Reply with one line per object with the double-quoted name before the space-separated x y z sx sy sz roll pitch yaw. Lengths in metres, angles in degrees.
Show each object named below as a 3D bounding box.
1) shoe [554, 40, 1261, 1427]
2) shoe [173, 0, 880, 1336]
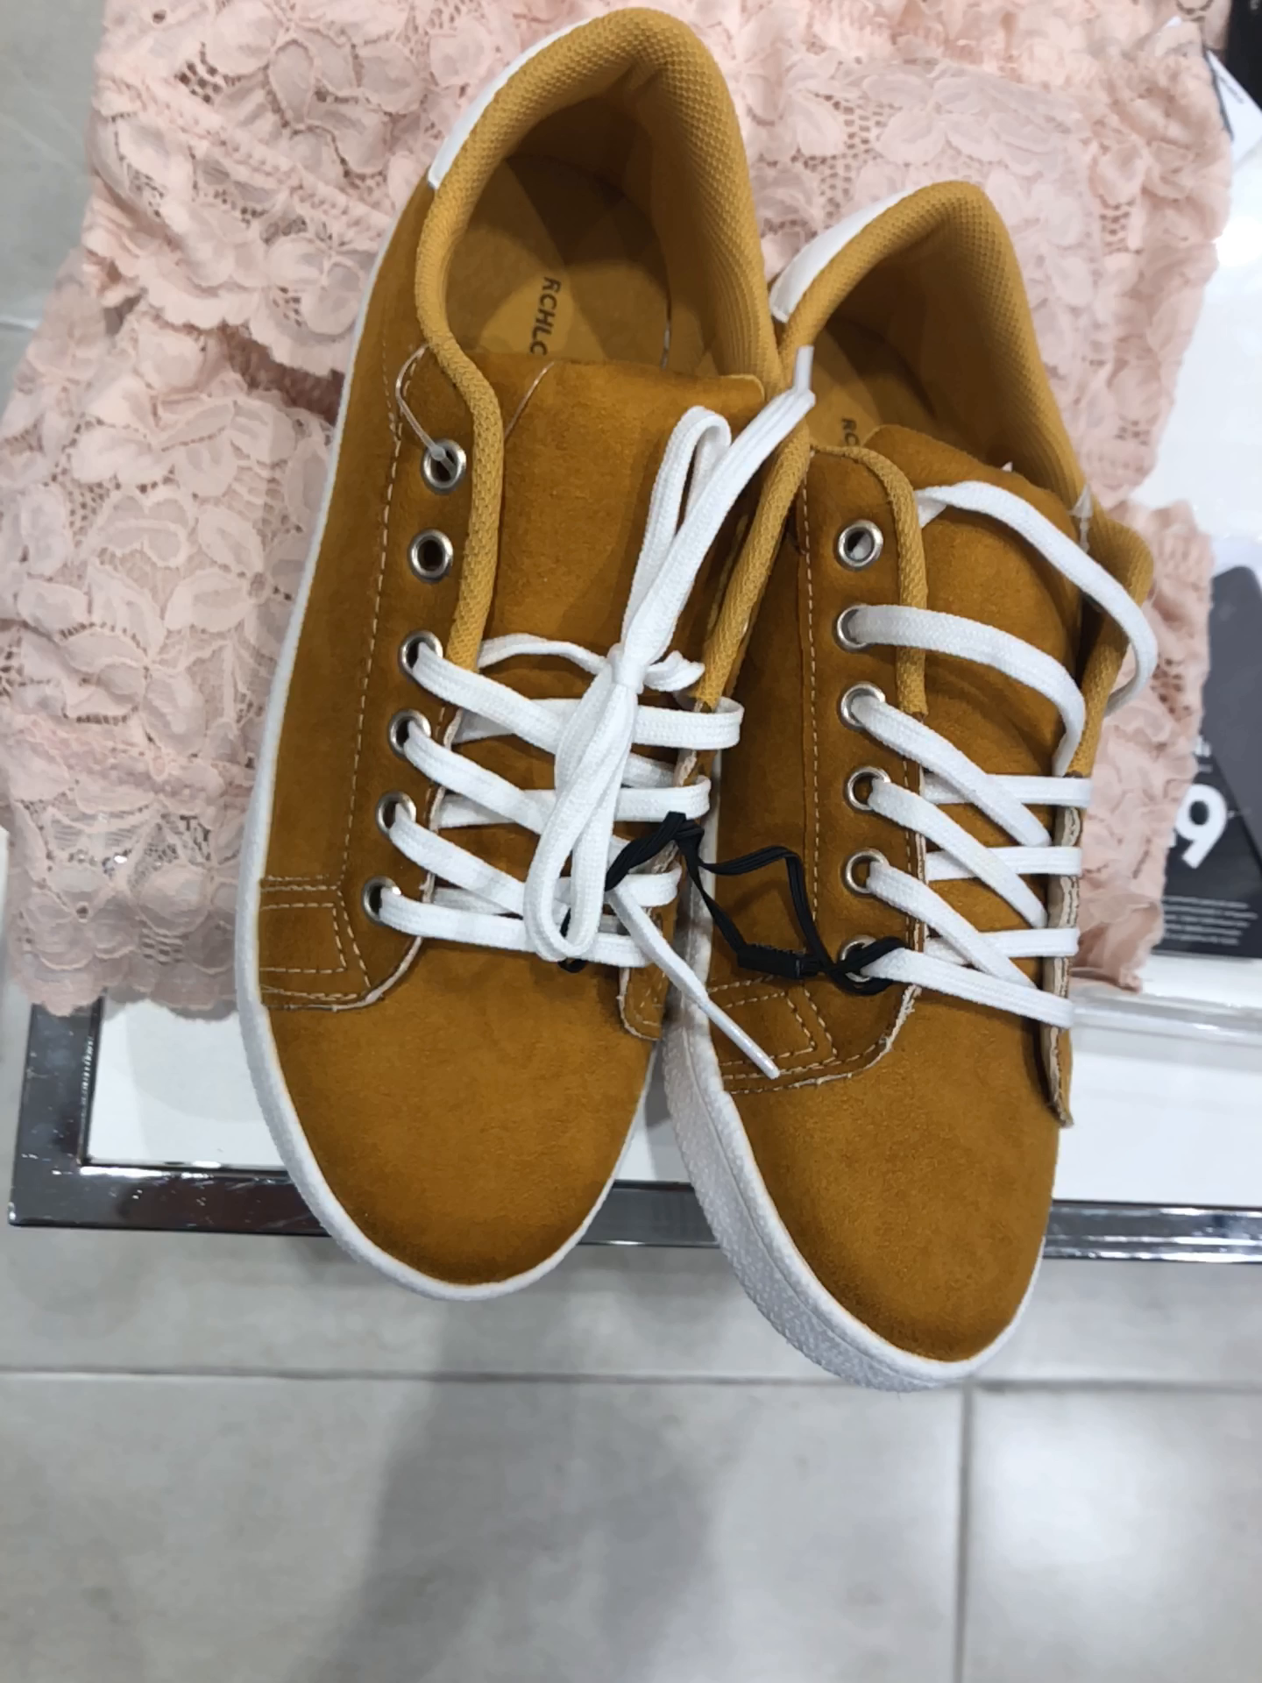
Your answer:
"shoe" 0.050 -0.016 0.296 0.100 0.100 0.240 7 73 -27
"shoe" -0.020 -0.038 0.273 0.090 0.100 0.240 9 77 -27
